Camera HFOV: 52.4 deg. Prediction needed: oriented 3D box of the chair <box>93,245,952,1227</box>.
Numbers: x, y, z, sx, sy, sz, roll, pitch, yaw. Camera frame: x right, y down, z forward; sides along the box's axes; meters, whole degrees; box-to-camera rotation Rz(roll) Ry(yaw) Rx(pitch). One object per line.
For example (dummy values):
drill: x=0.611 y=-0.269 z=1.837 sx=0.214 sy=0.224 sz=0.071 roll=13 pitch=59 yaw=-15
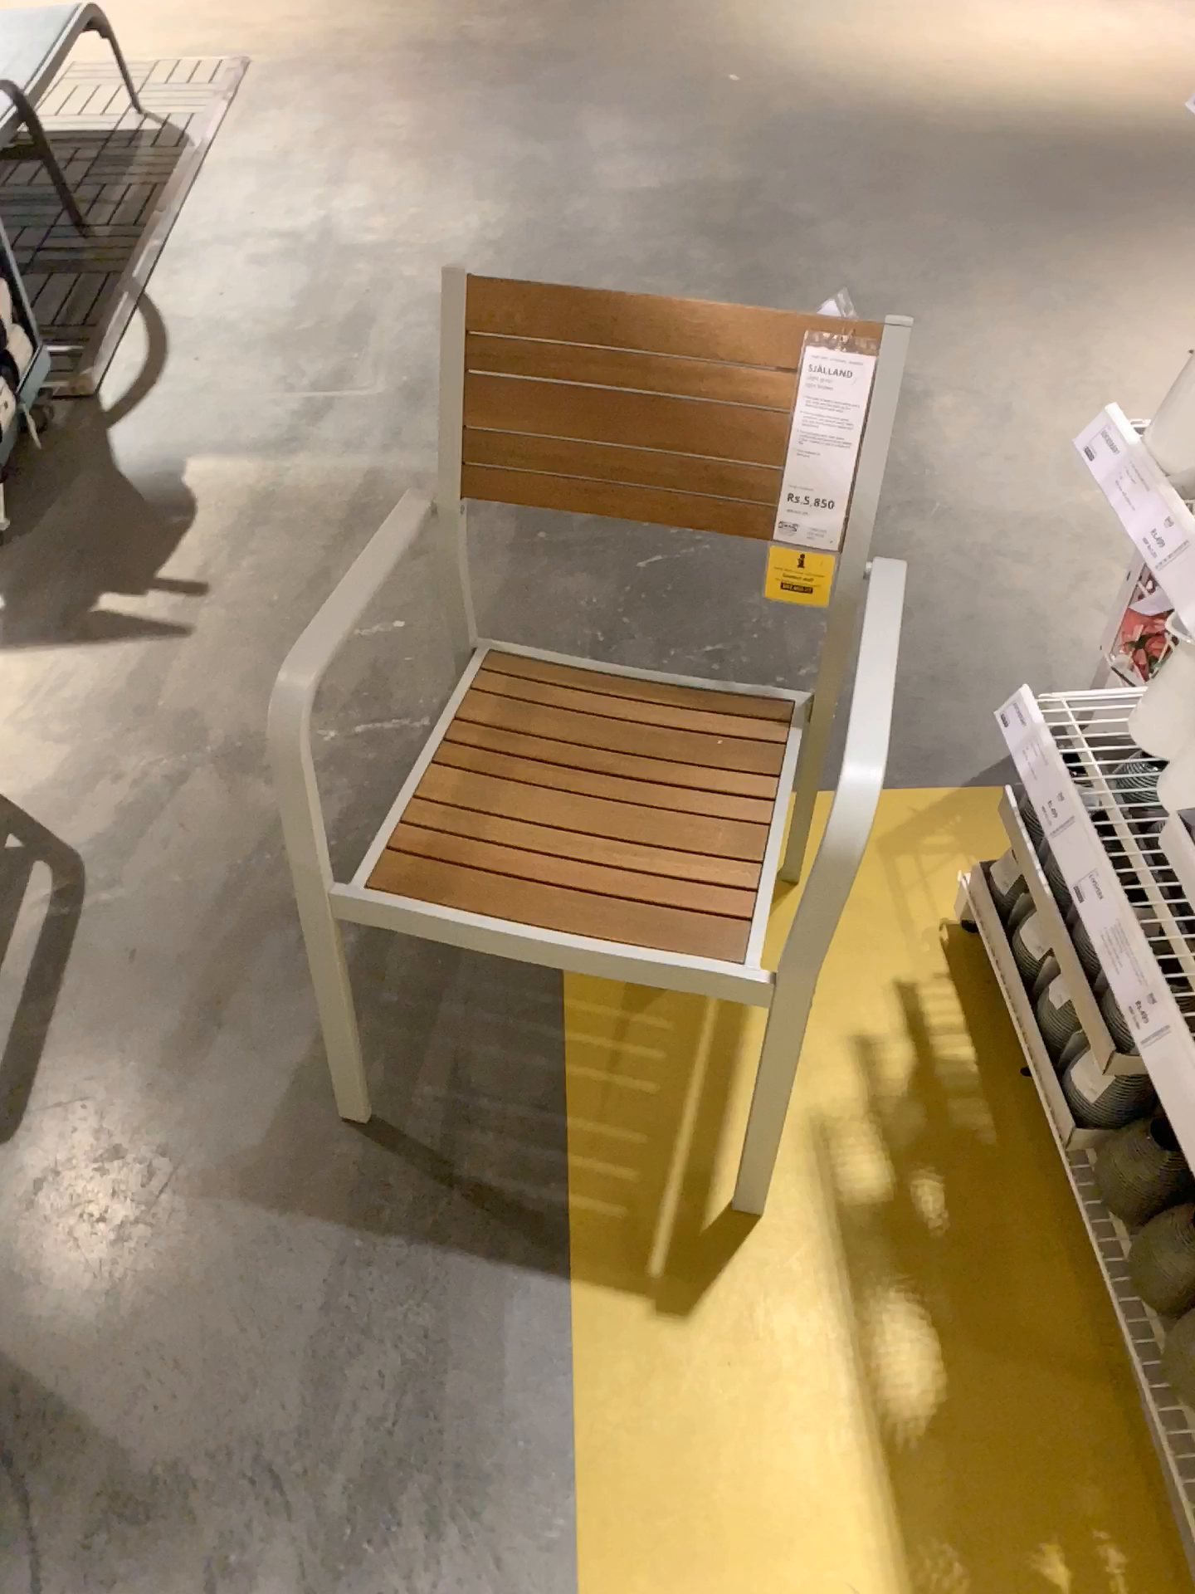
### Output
chair: x=-0.009 y=-0.058 z=1.273 sx=0.560 sy=0.728 sz=0.602 roll=11 pitch=48 yaw=10
